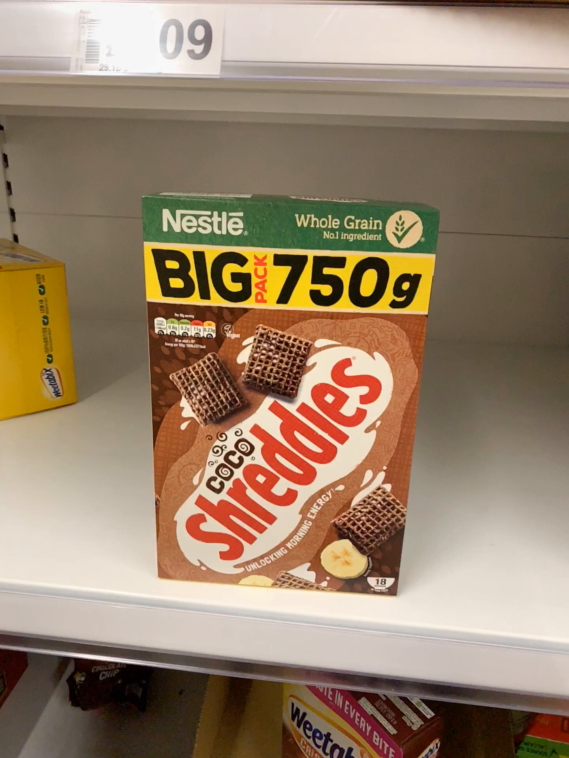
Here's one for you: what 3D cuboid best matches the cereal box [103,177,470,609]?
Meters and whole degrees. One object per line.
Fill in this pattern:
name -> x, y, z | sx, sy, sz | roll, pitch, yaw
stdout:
cereal box -> -0.002, 0.012, 0.420 | 0.210, 0.288, 0.081 | 3, 20, 4
